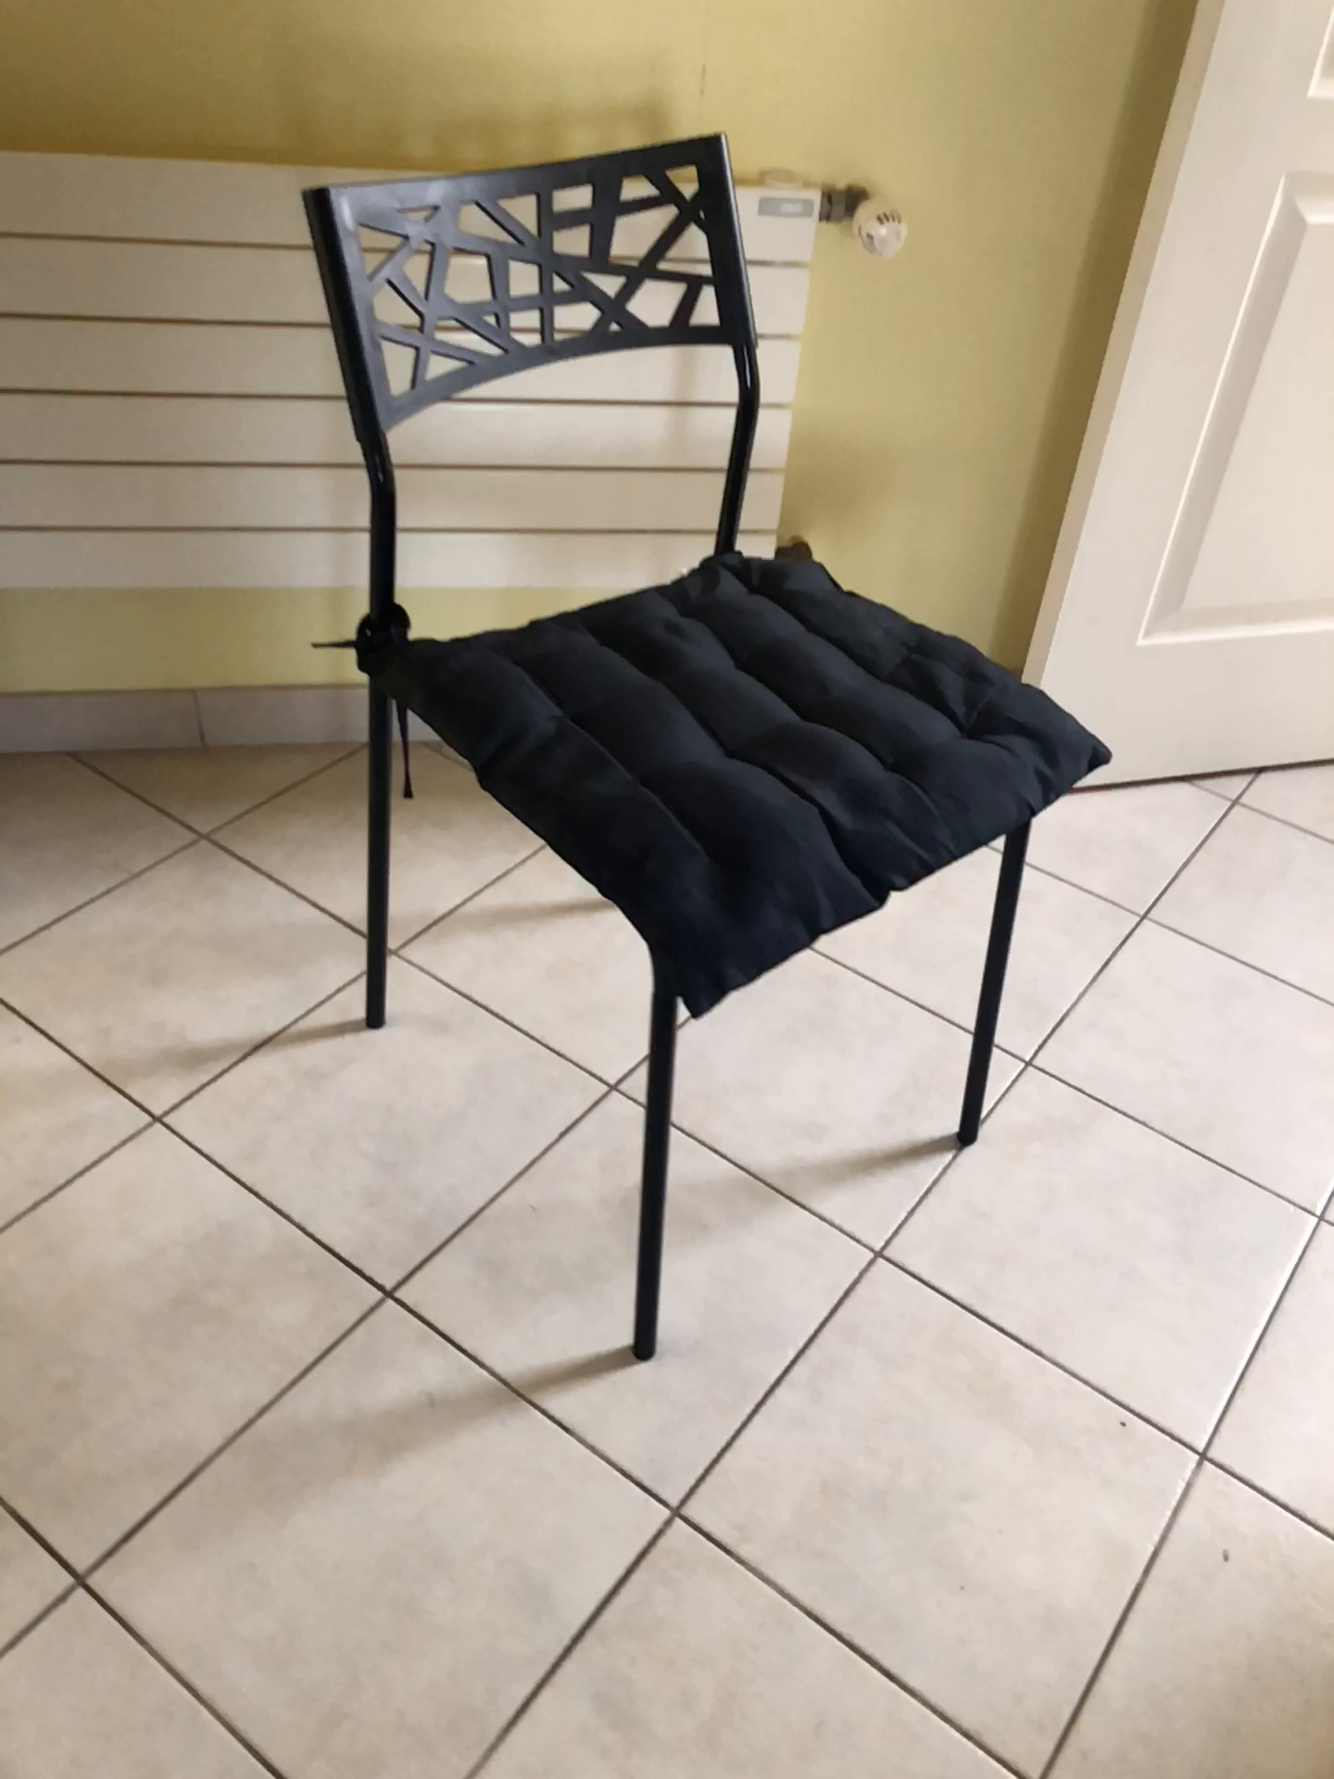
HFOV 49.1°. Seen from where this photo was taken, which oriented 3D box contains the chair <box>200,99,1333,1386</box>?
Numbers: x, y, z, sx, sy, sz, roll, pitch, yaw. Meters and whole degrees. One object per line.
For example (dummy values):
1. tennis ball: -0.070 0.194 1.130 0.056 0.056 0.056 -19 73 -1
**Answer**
1. chair: 0.041 -0.139 1.162 0.523 0.735 0.521 -26 49 -32
